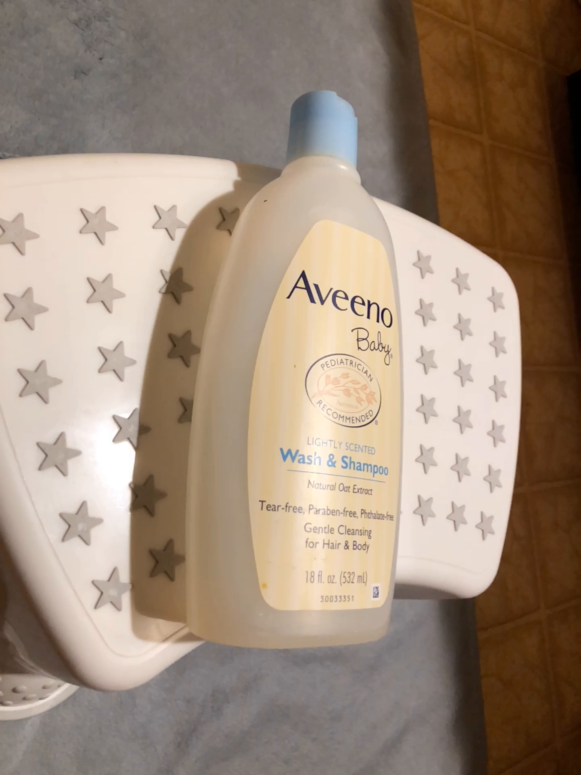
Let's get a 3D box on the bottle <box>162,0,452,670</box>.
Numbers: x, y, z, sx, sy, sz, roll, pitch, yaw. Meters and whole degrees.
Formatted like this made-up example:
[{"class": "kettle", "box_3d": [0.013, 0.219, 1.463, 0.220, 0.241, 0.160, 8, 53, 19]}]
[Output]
[{"class": "bottle", "box_3d": [0.015, -0.022, 0.260, 0.100, 0.040, 0.240, 12, 74, -34]}]
